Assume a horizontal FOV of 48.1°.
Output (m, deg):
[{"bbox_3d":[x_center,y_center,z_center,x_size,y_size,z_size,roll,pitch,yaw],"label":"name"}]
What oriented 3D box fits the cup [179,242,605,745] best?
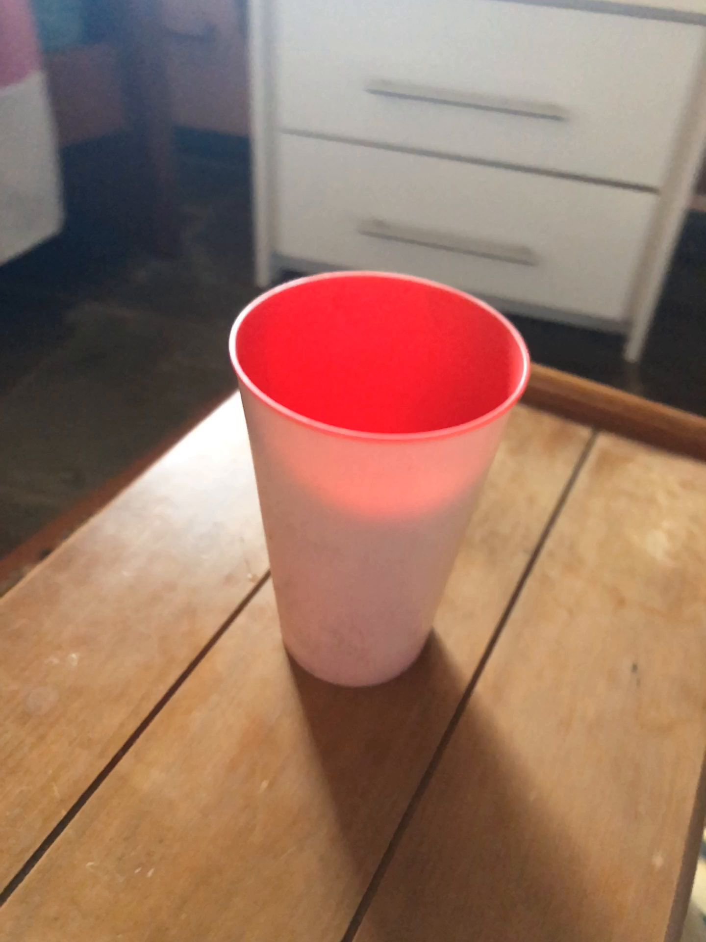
[{"bbox_3d":[0.013,0.005,0.275,0.100,0.119,0.091,19,43,17],"label":"cup"}]
